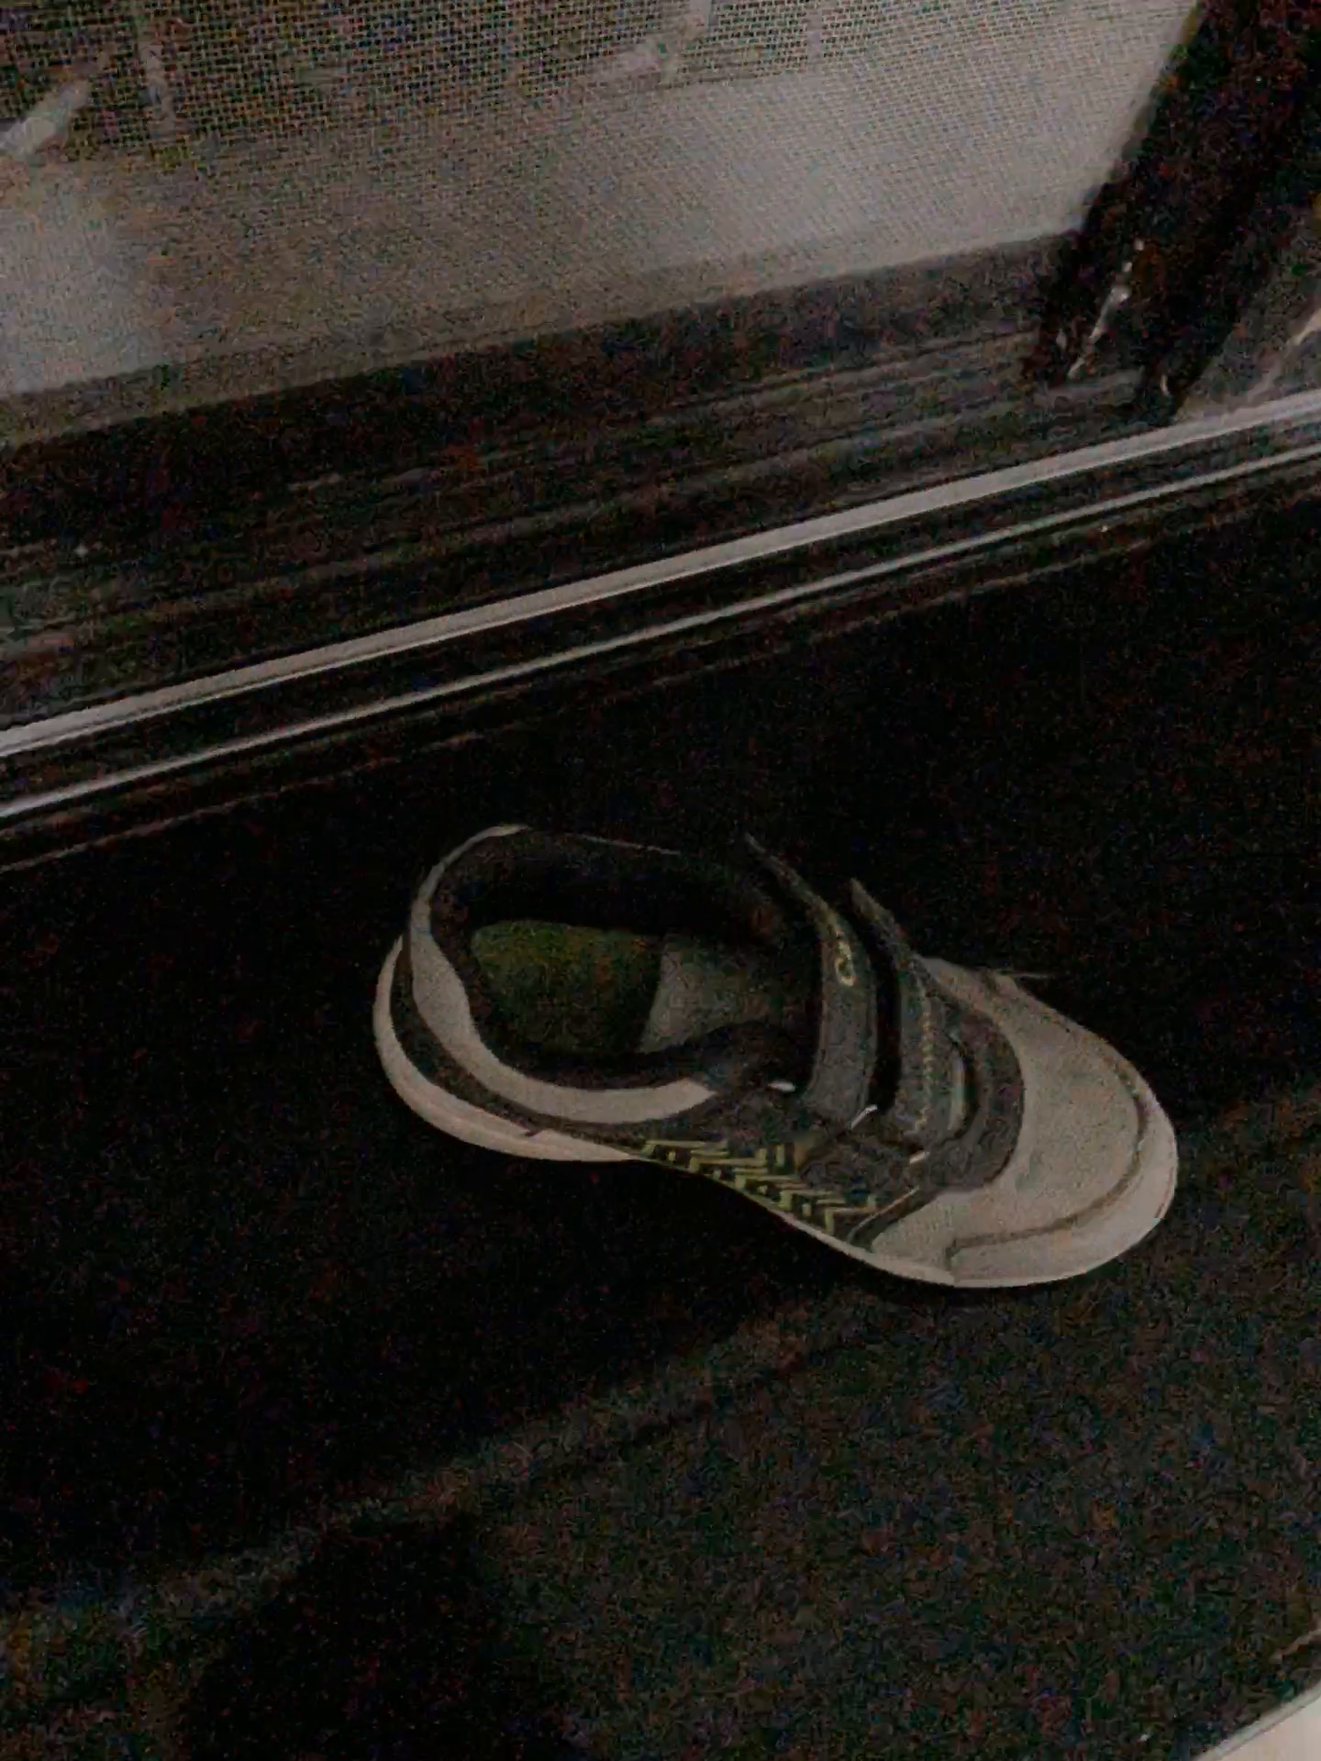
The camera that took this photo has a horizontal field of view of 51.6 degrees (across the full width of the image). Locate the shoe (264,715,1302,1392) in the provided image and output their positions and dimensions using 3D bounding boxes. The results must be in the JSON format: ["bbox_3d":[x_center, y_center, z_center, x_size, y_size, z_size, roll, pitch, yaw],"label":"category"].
[{"bbox_3d":[0.031,0.048,0.351,0.230,0.080,0.090,17,63,0],"label":"shoe"}]
